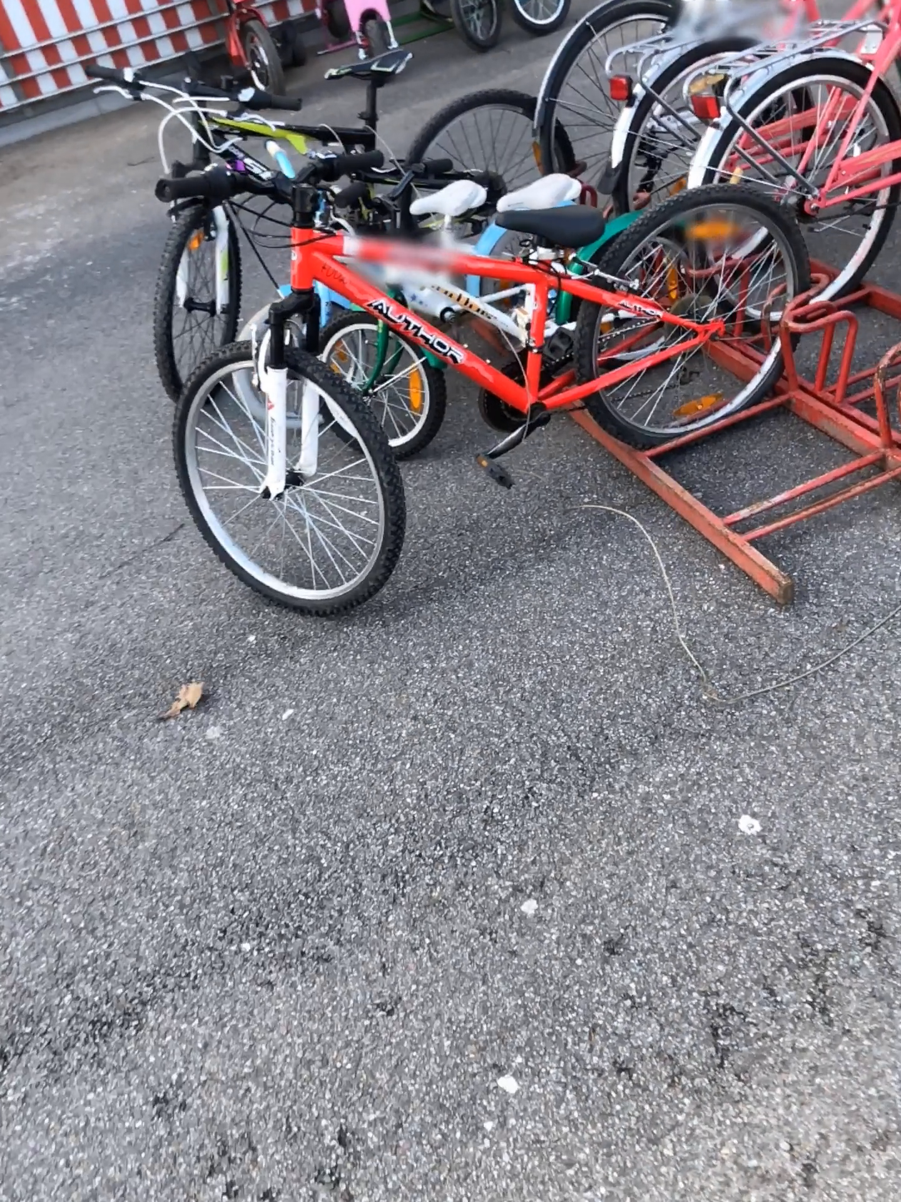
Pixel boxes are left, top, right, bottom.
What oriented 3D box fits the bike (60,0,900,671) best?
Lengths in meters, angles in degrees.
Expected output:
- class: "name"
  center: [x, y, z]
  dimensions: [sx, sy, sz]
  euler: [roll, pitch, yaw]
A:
- class: "bike"
  center: [0.087, -0.576, 2.038]
  dimensions: [1.443, 0.908, 0.554]
  euler: [-18, 41, -1]
